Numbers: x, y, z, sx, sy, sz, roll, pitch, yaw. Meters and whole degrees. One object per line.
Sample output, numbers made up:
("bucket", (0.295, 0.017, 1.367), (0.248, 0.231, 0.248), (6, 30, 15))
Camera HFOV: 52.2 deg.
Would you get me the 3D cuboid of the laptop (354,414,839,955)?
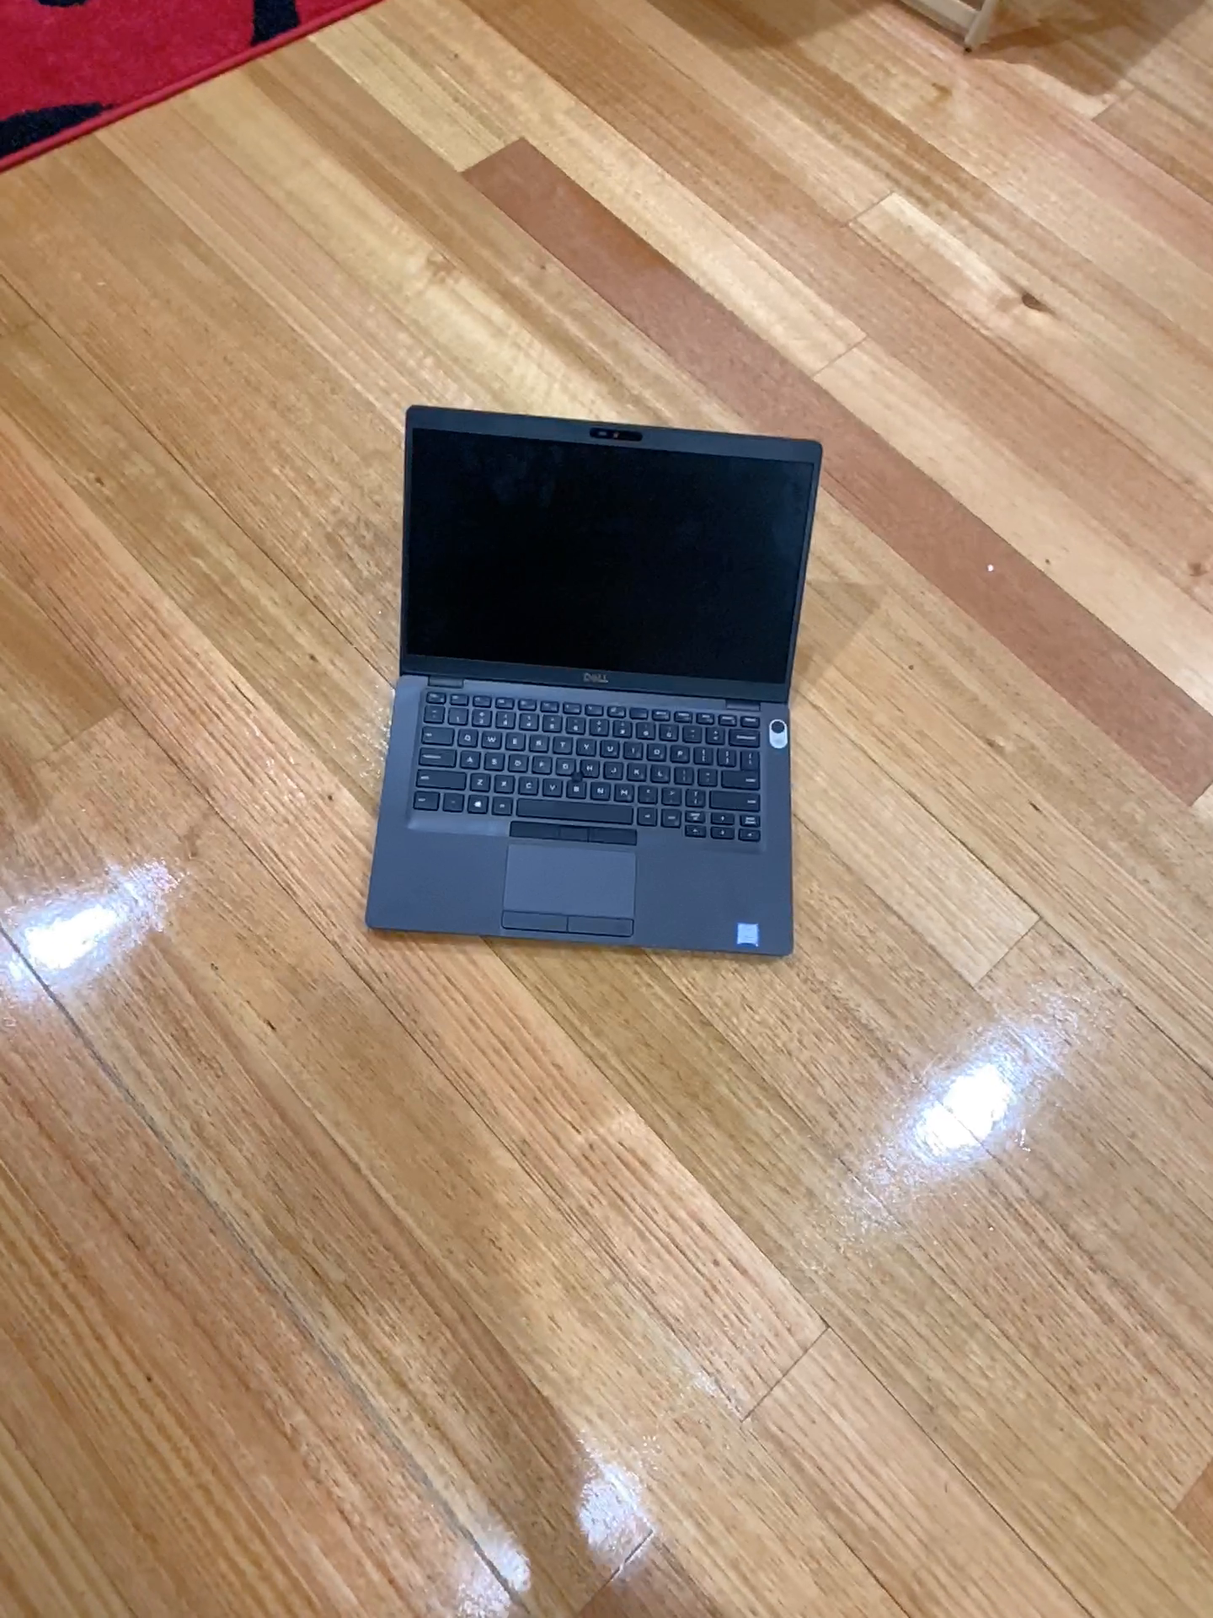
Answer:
("laptop", (0.001, -0.097, 0.951), (0.320, 0.134, 0.372), (5, 66, -3))
